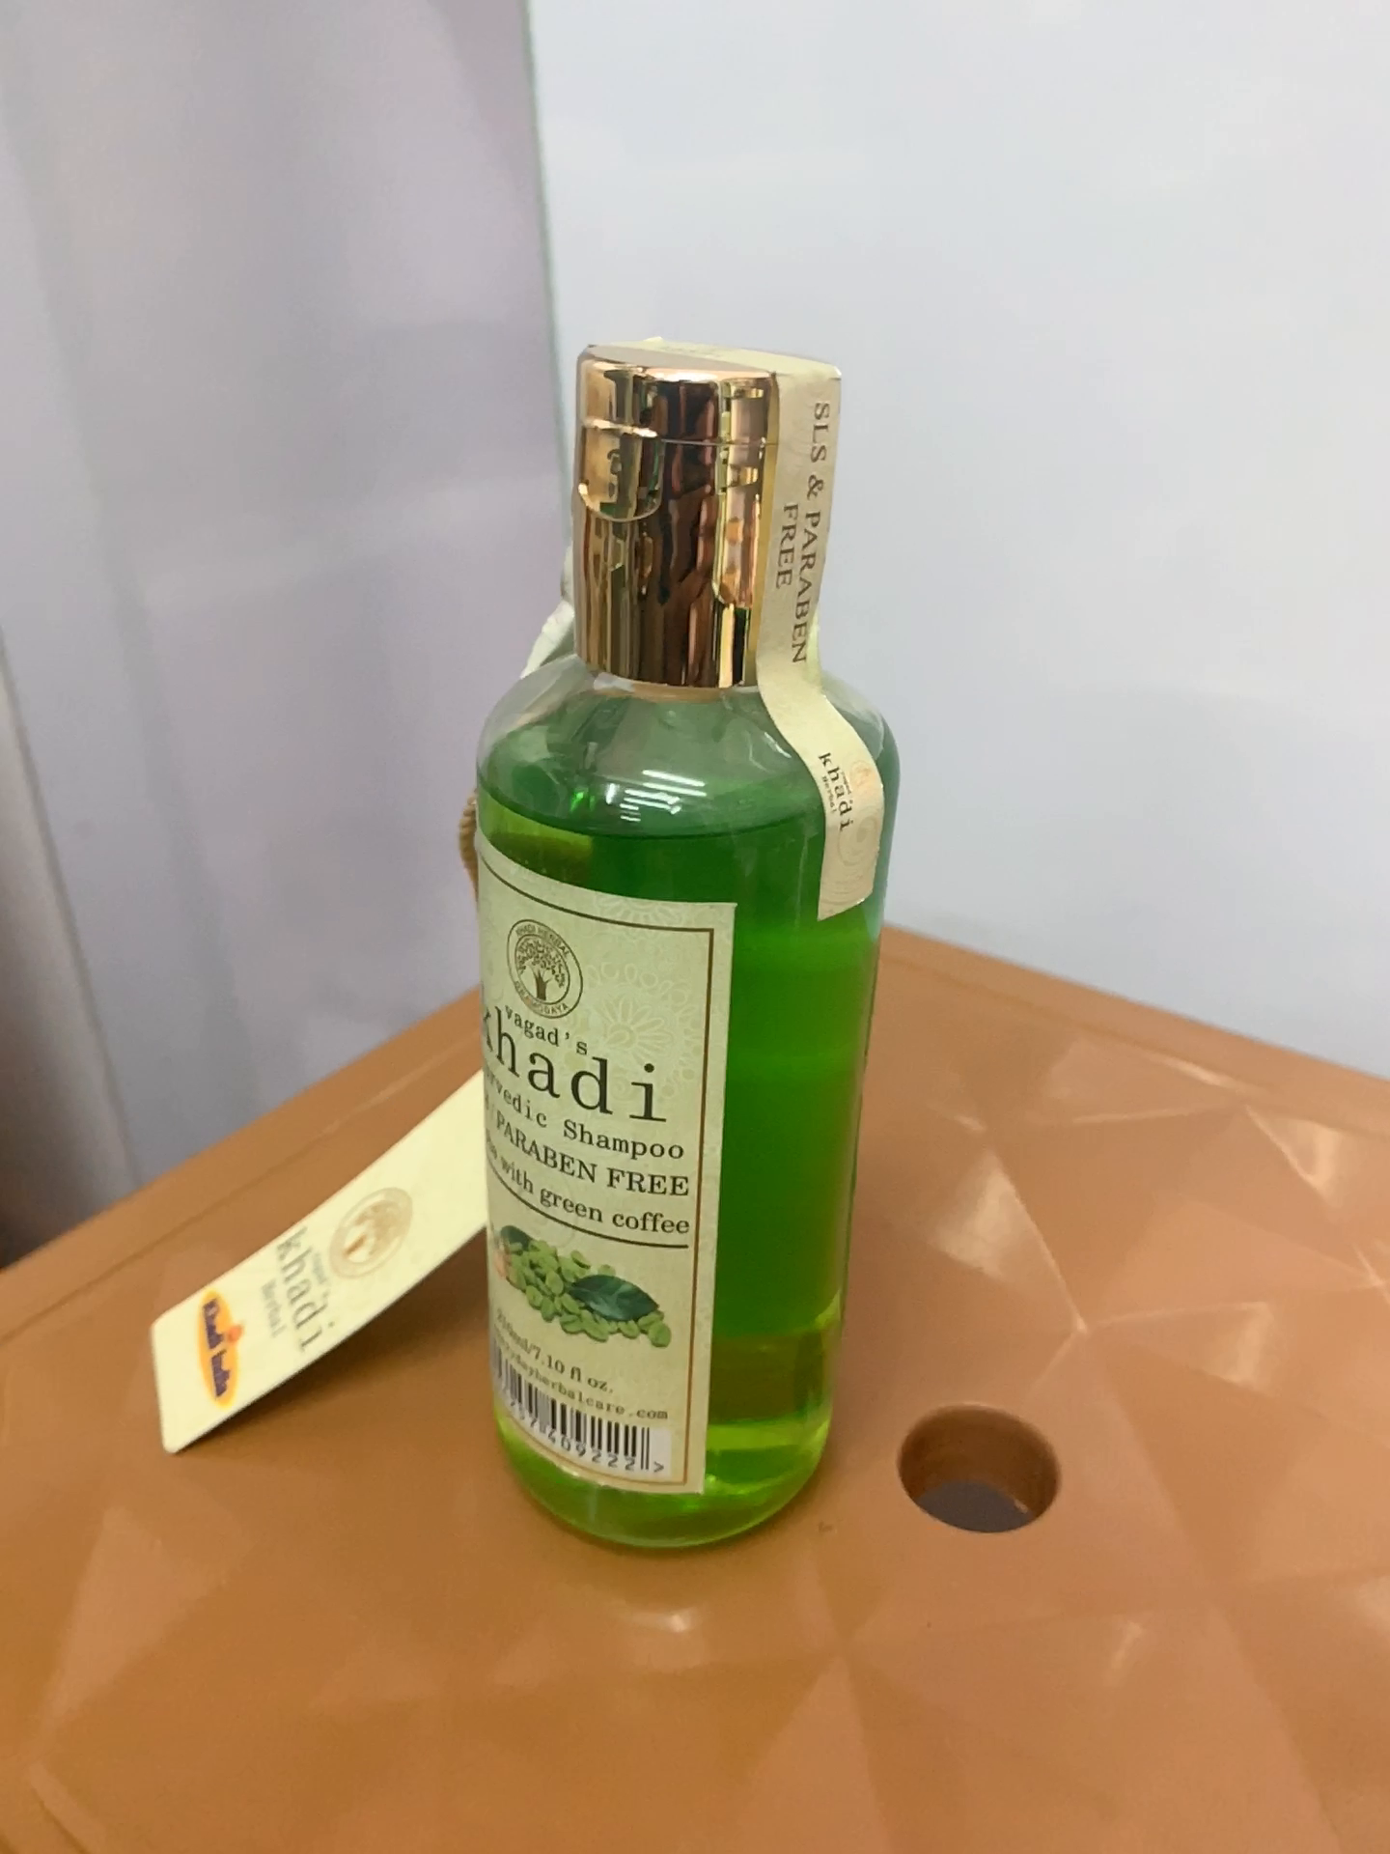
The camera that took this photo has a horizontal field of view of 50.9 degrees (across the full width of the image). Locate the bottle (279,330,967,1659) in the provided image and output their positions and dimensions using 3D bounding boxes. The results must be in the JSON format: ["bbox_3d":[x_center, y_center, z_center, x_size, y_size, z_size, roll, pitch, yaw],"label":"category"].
[{"bbox_3d":[-0.008,0.009,0.182,0.050,0.149,0.050,0,26,0],"label":"bottle"}]
